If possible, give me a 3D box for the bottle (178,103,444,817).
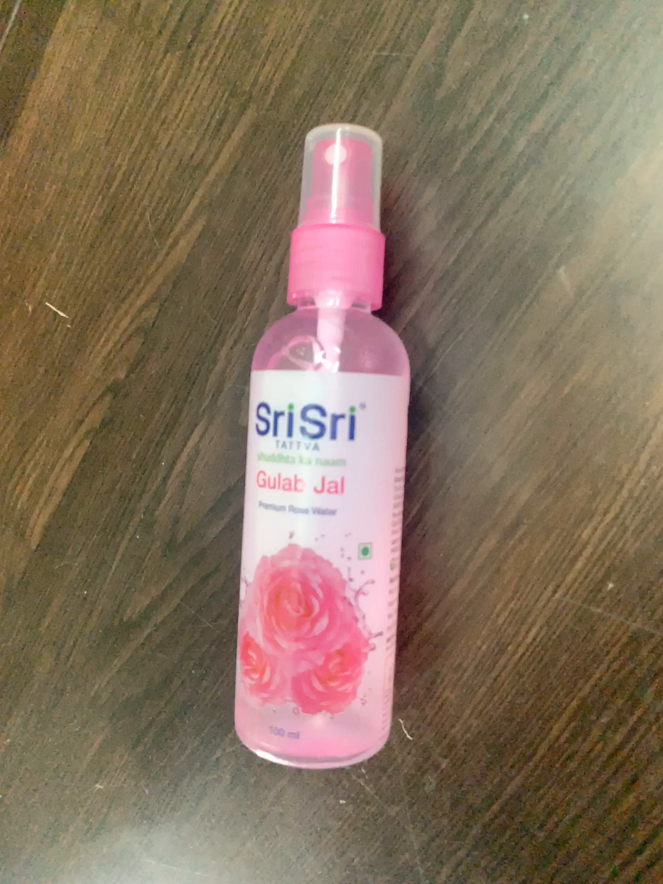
[{"bbox_3d":[-0.004,0.004,0.161,0.040,0.040,0.140,5,94,29],"label":"bottle"}]
